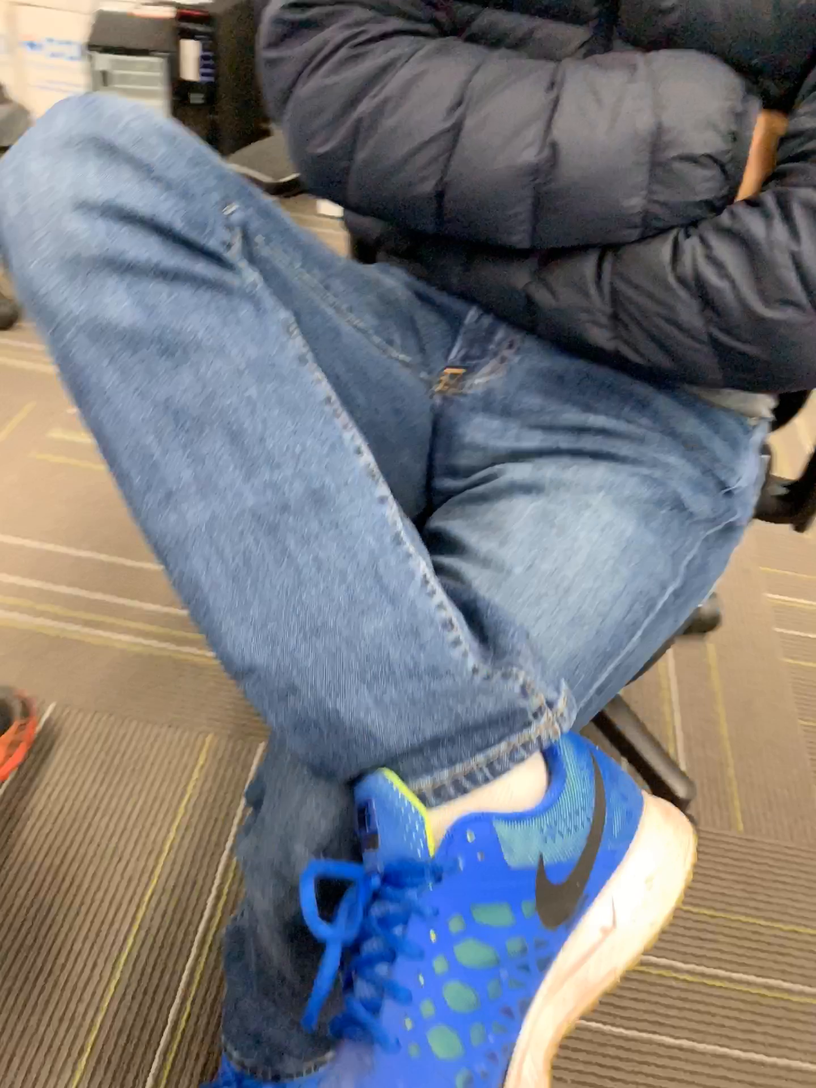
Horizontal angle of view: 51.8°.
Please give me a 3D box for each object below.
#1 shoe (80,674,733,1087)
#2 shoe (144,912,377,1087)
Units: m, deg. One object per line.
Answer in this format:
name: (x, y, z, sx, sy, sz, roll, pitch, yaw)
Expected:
shoe: (0.017, 0.197, 0.361, 0.103, 0.117, 0.276, 46, 48, 4)
shoe: (-0.112, 0.483, 0.720, 0.100, 0.086, 0.284, 13, 41, 5)
